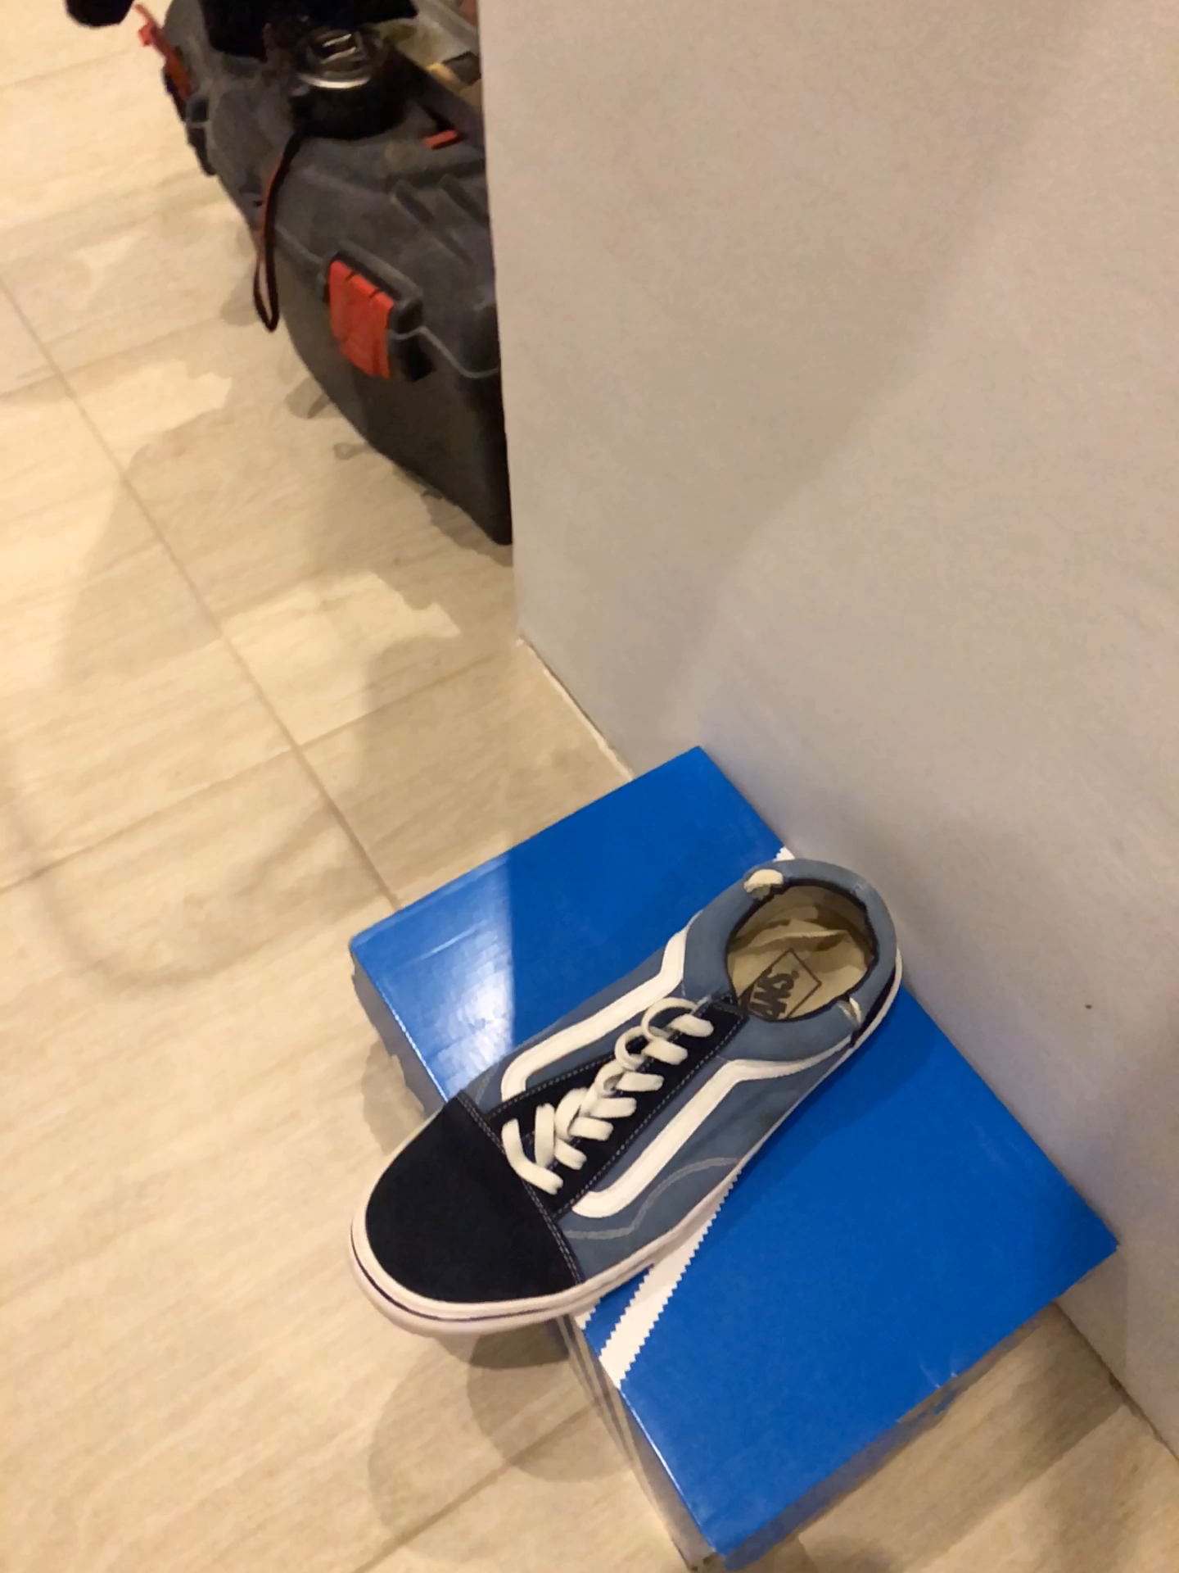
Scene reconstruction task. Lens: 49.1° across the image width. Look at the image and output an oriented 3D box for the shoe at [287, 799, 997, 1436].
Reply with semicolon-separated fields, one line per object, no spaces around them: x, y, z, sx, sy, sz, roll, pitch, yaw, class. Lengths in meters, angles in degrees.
0.027;0.133;0.558;0.281;0.080;0.110;-31;62;-20;shoe
